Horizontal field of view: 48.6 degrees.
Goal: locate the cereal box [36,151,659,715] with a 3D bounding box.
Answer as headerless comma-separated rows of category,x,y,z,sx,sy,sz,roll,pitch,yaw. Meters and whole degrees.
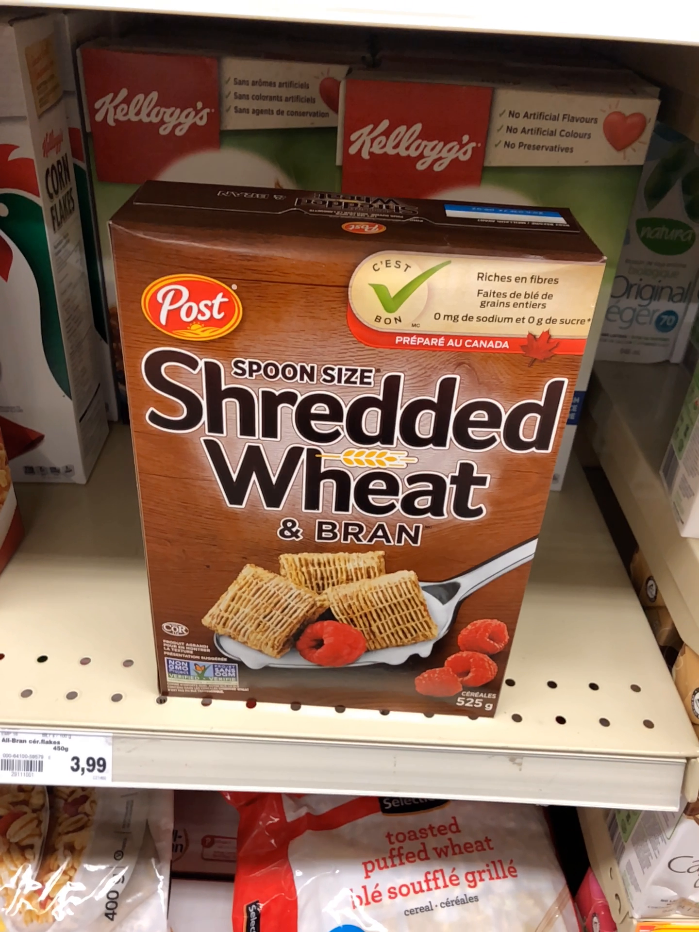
cereal box,-0.006,-0.001,0.359,0.210,0.248,0.071,4,34,0
